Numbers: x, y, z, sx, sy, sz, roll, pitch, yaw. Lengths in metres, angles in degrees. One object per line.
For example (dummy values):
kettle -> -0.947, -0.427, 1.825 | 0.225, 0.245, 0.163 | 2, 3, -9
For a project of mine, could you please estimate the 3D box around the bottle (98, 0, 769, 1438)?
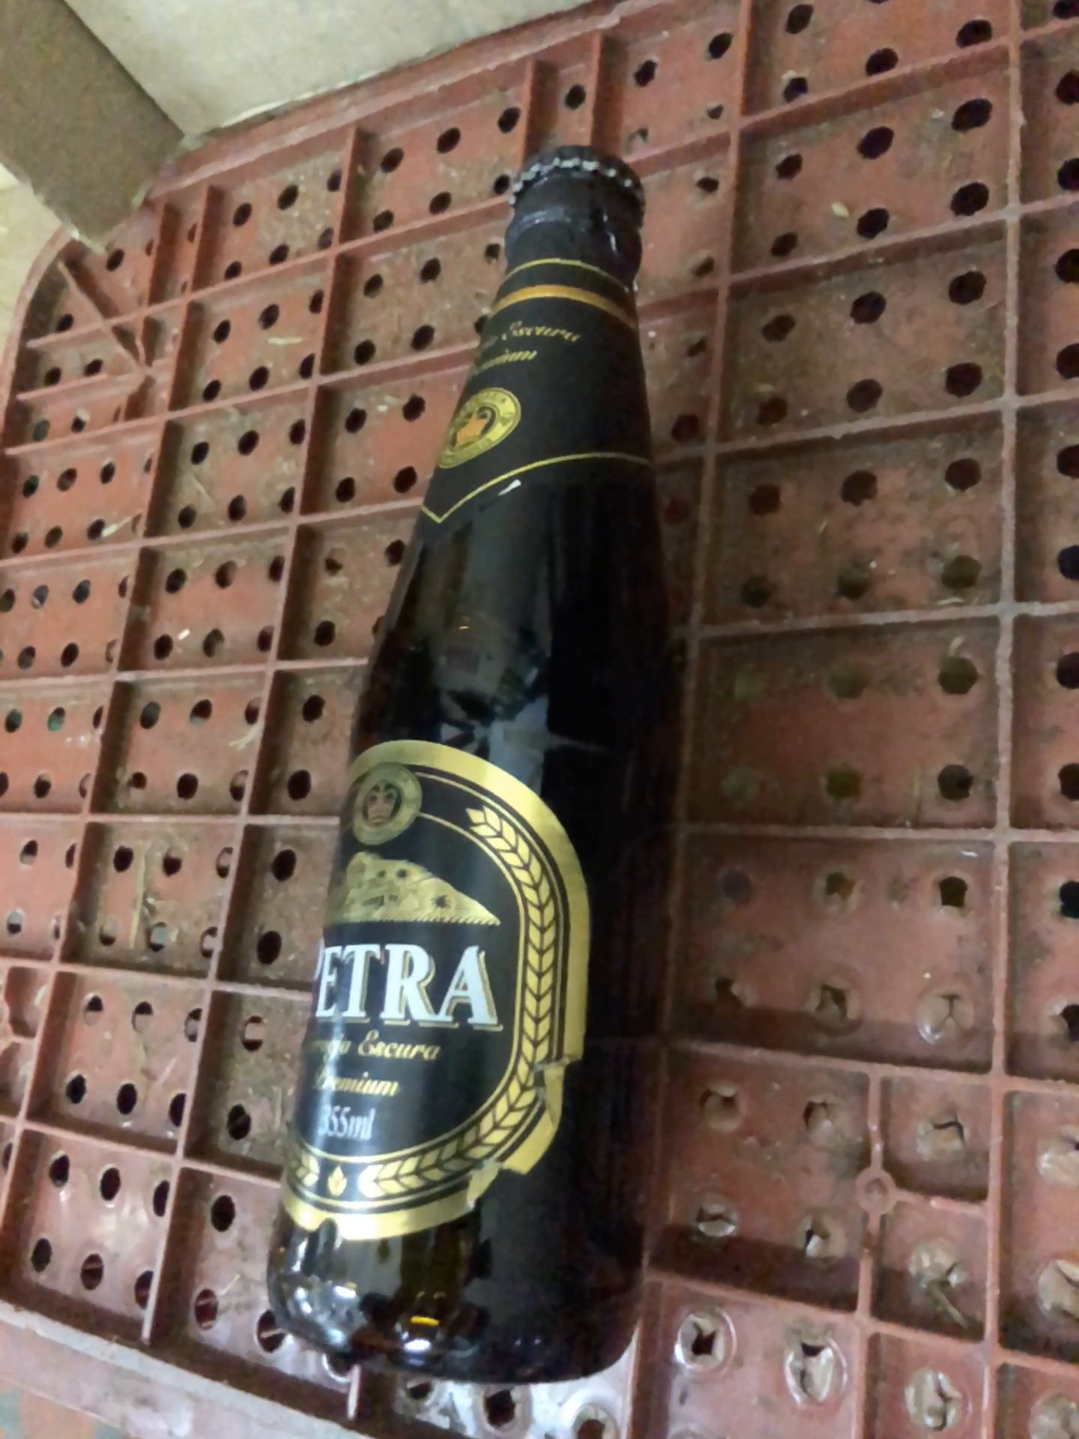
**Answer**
bottle -> -0.008, -0.011, 0.218 | 0.070, 0.060, 0.250 | -4, 71, 31
